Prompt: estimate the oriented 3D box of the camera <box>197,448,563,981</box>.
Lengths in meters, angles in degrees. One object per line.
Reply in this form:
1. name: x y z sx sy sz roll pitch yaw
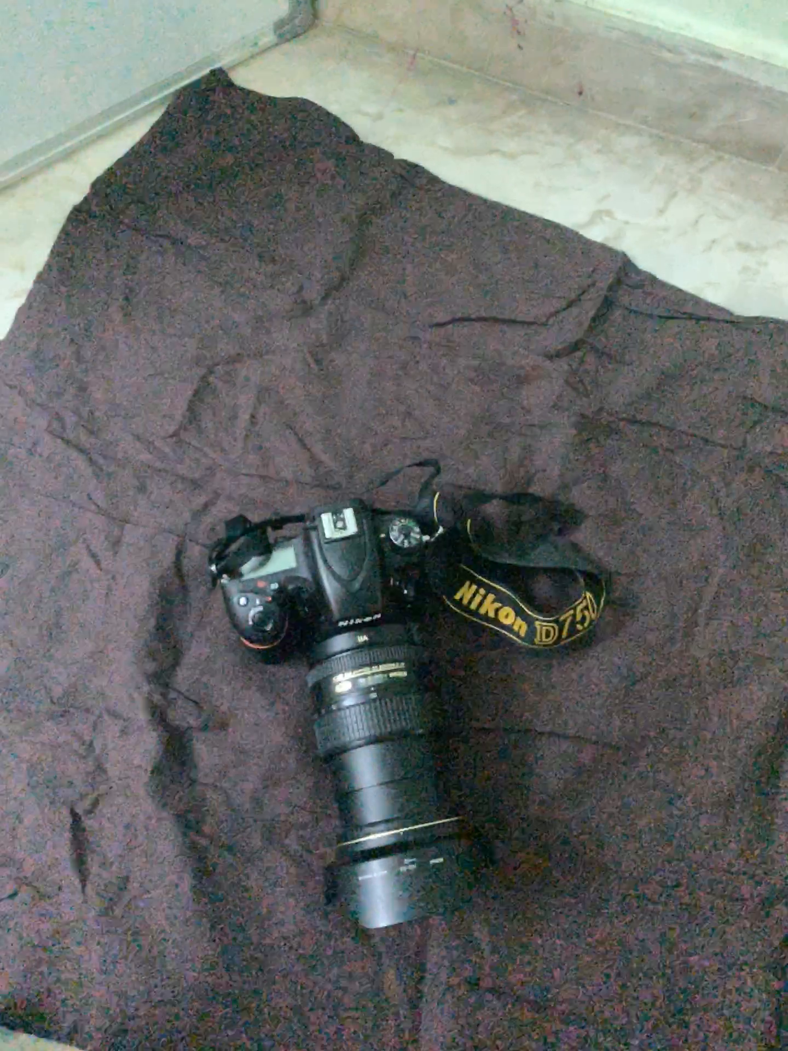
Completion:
1. camera: -0.018 0.110 0.518 0.161 0.100 0.279 -11 71 -6
